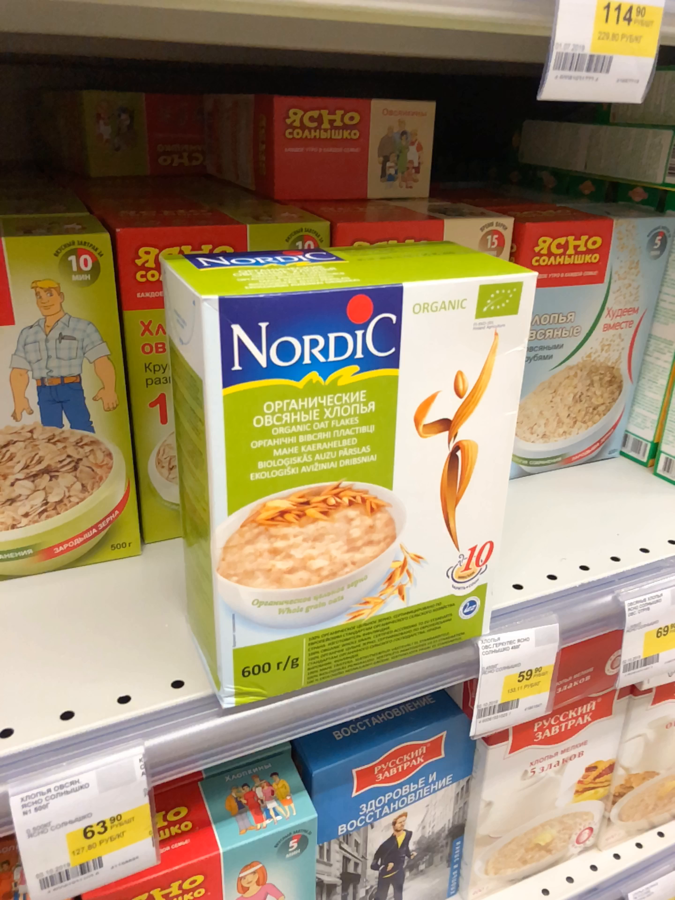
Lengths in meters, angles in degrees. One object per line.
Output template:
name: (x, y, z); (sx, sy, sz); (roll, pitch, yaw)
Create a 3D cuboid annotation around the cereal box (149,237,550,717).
cereal box: (0.002, 0.006, 0.354); (0.150, 0.189, 0.080); (-9, 26, -22)
